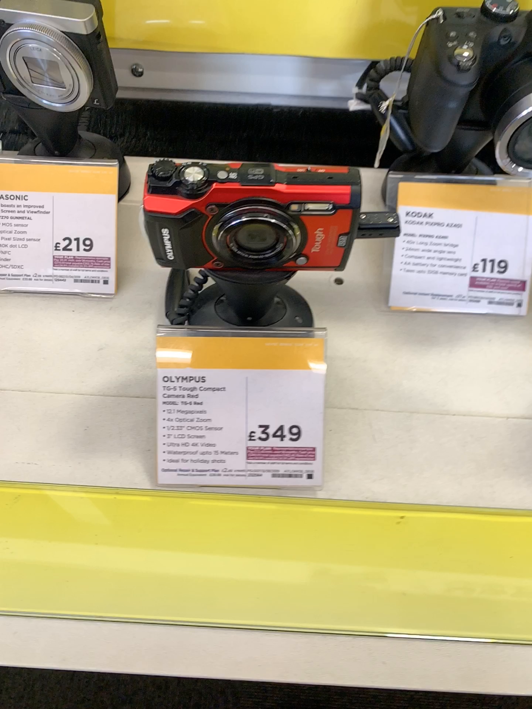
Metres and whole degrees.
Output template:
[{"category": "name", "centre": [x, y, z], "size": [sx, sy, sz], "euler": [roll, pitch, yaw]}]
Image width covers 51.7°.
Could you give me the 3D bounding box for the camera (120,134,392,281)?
[{"category": "camera", "centre": [-0.004, -0.072, 0.278], "size": [0.120, 0.060, 0.040], "euler": [1, 62, -1]}]
